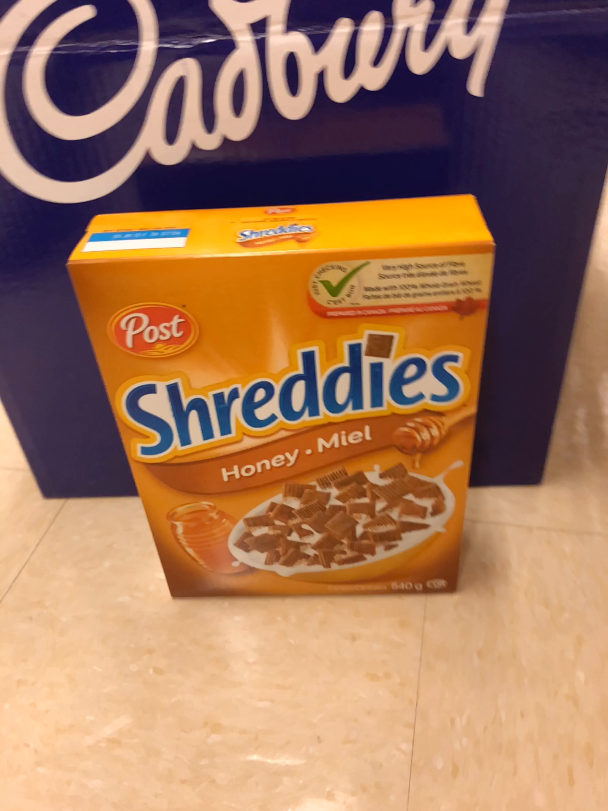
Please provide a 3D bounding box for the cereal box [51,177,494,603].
[{"bbox_3d":[-0.006,0.011,0.431,0.210,0.278,0.070,-2,39,4],"label":"cereal box"}]
